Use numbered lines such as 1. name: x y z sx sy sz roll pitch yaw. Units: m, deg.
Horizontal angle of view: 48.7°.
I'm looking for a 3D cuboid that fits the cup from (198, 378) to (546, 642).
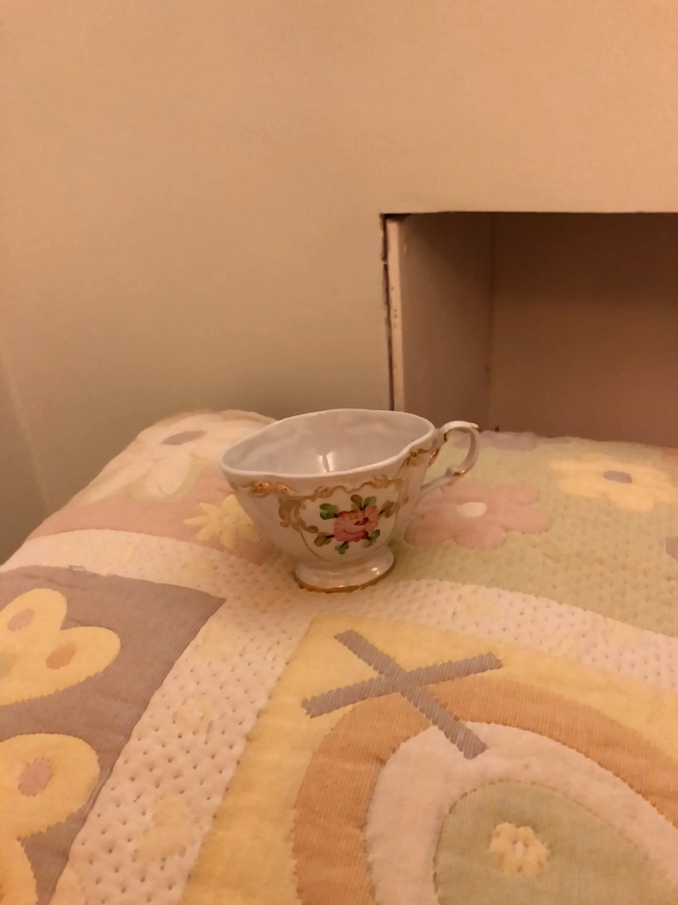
1. cup: 0.012 0.019 0.371 0.140 0.070 0.100 -12 19 -14
